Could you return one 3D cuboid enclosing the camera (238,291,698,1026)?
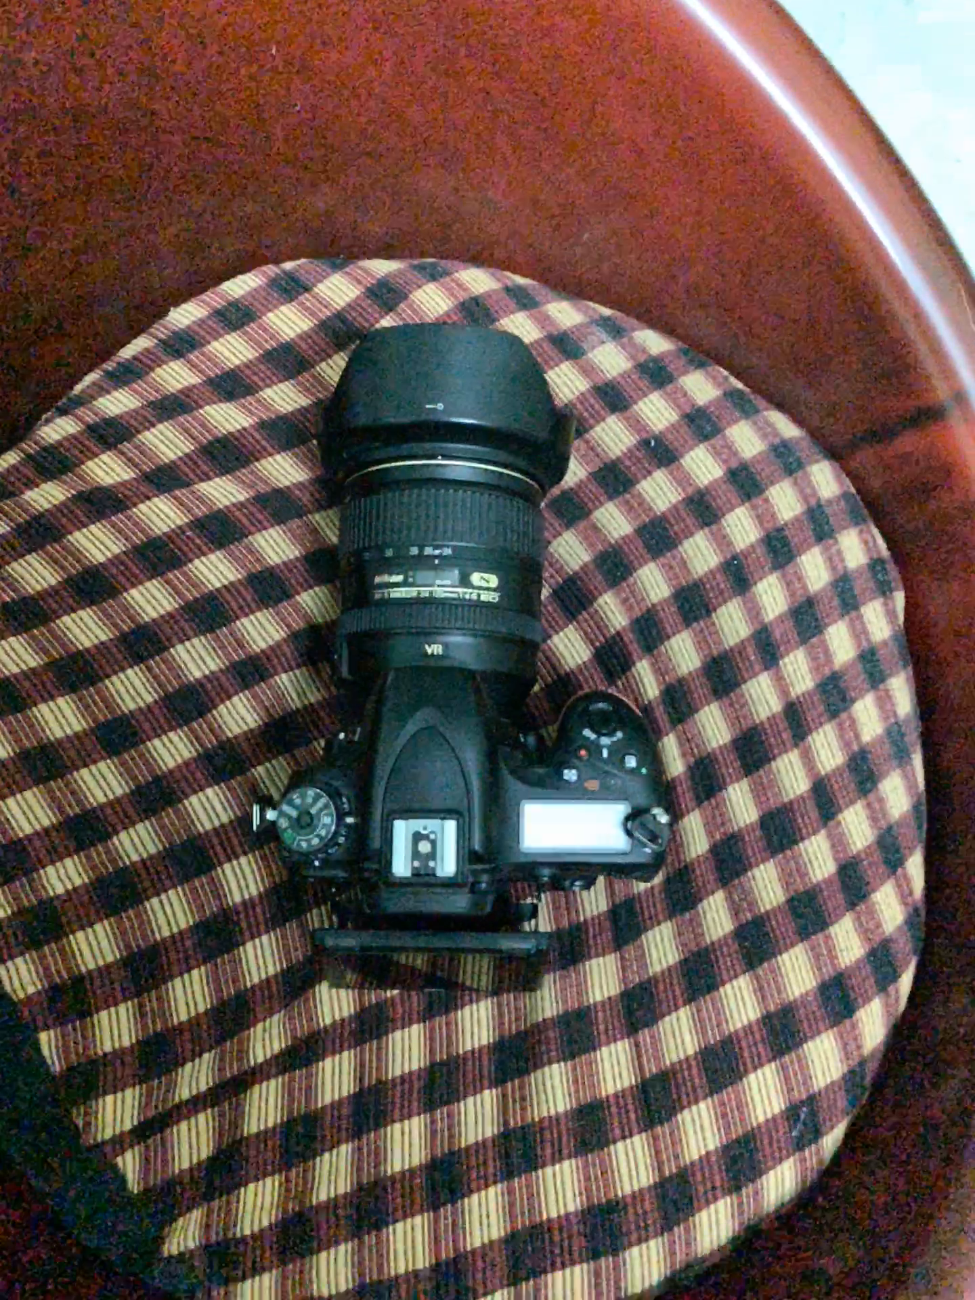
[{"bbox_3d":[-0.003,0.003,0.382,0.140,0.102,0.250,1,76,1],"label":"camera"}]
